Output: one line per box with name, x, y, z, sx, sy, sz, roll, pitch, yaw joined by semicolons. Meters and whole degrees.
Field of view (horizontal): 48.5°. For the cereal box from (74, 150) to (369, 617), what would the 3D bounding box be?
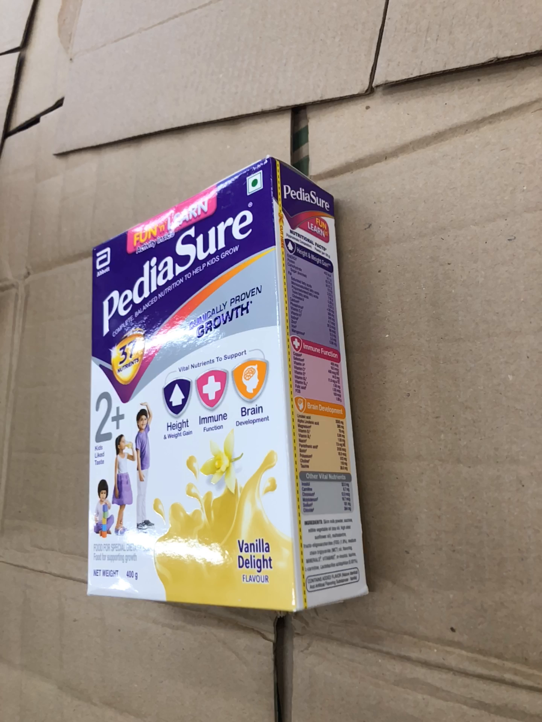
cereal box;-0.032;0.017;0.301;0.140;0.050;0.190;-14;72;37
